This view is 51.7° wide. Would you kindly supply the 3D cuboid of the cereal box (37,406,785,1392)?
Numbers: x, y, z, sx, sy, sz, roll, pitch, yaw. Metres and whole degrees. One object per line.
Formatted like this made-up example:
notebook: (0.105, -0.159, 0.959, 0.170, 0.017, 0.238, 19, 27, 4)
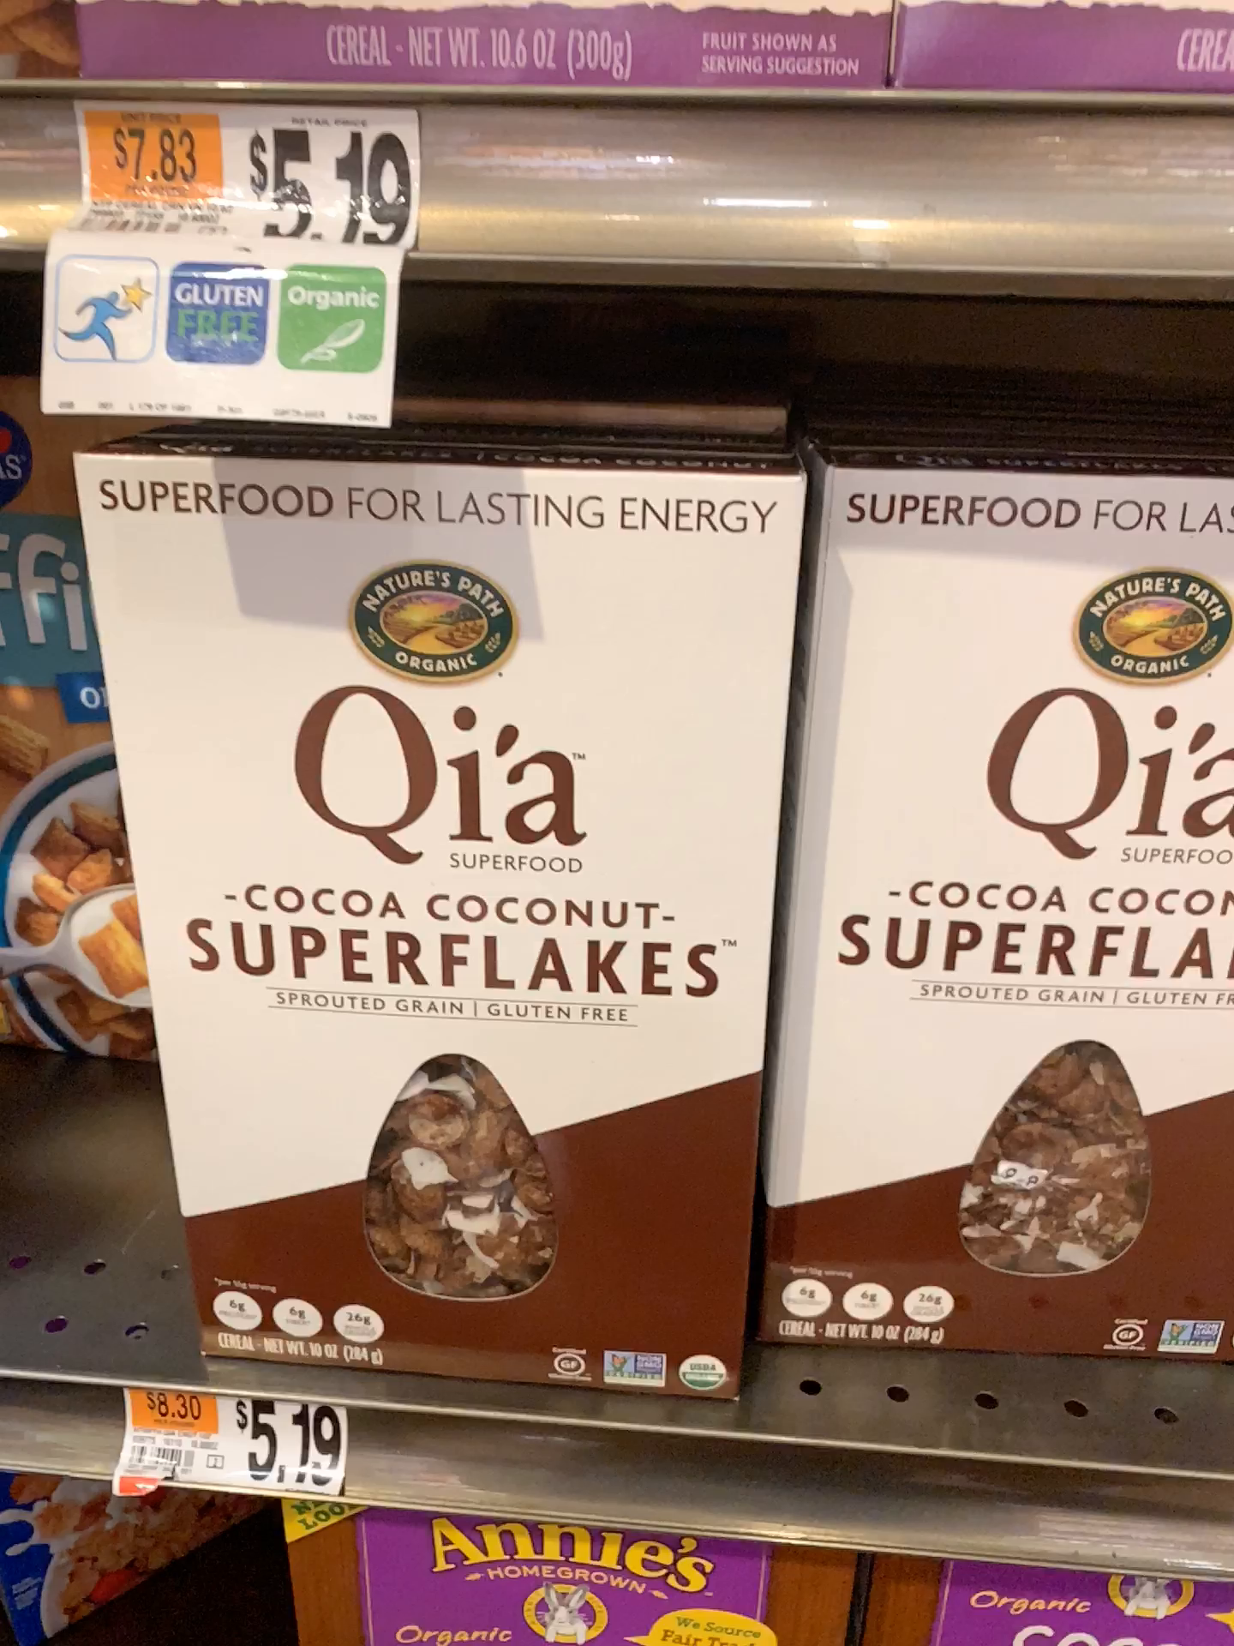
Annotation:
cereal box: (-0.045, 0.027, 0.346, 0.160, 0.259, 0.060, 3, 23, 4)
